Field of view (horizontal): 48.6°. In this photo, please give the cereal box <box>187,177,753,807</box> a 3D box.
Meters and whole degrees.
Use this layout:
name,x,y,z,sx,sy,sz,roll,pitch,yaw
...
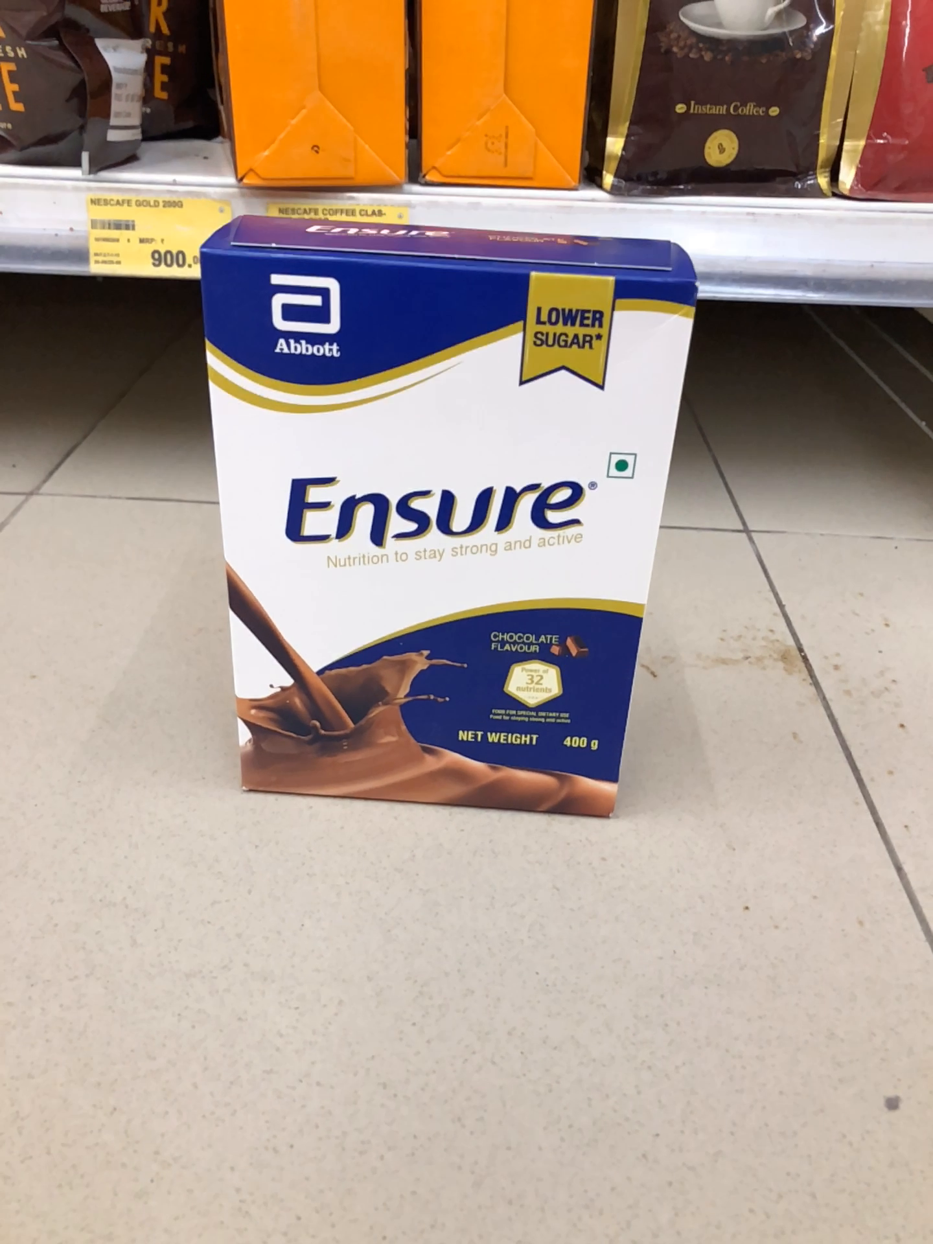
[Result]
name,x,y,z,sx,sy,sz,roll,pitch,yaw
cereal box,0.000,-0.036,0.326,0.140,0.179,0.060,4,31,4
